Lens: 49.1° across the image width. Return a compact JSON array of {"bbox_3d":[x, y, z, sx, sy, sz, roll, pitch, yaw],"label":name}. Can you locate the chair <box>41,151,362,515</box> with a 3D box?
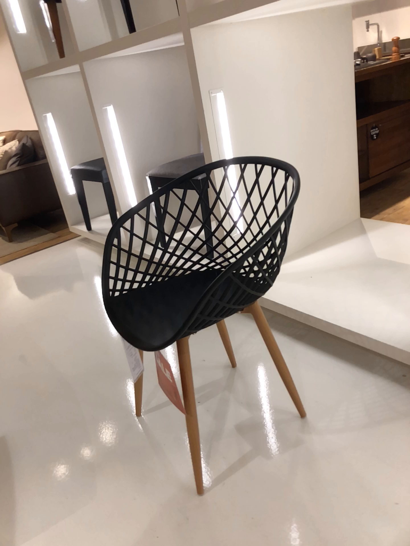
[{"bbox_3d":[-0.005,0.079,1.329,0.601,0.705,0.623,-23,26,-26],"label":"chair"}]
